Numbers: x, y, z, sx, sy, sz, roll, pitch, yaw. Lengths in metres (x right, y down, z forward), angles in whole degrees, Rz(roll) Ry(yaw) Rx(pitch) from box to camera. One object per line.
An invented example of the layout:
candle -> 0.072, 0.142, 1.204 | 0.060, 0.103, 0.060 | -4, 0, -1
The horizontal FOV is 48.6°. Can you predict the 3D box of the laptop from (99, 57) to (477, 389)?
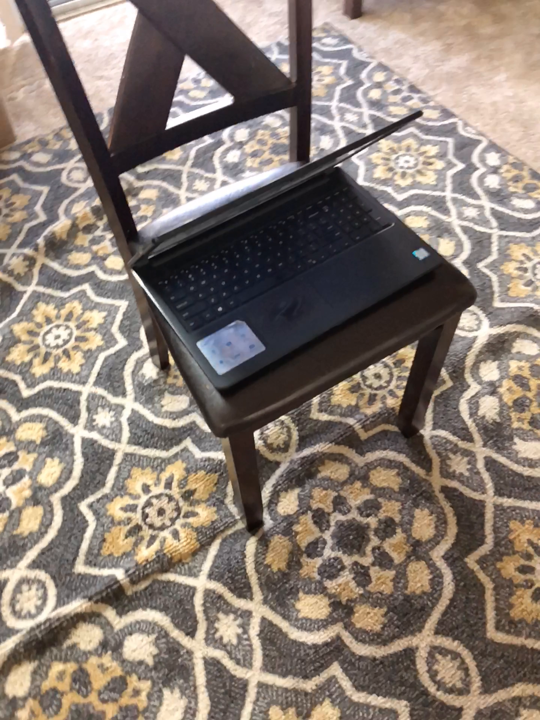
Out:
laptop -> 0.023, -0.188, 0.772 | 0.366, 0.186, 0.245 | -31, 60, -18
